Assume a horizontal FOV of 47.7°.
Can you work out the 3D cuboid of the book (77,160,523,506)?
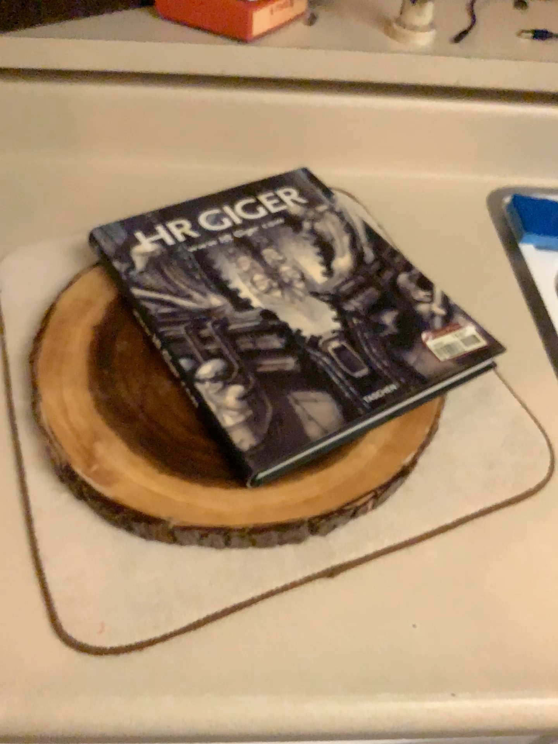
[{"bbox_3d":[0.006,-0.072,0.586,0.270,0.030,0.330,-24,55,-23],"label":"book"}]
